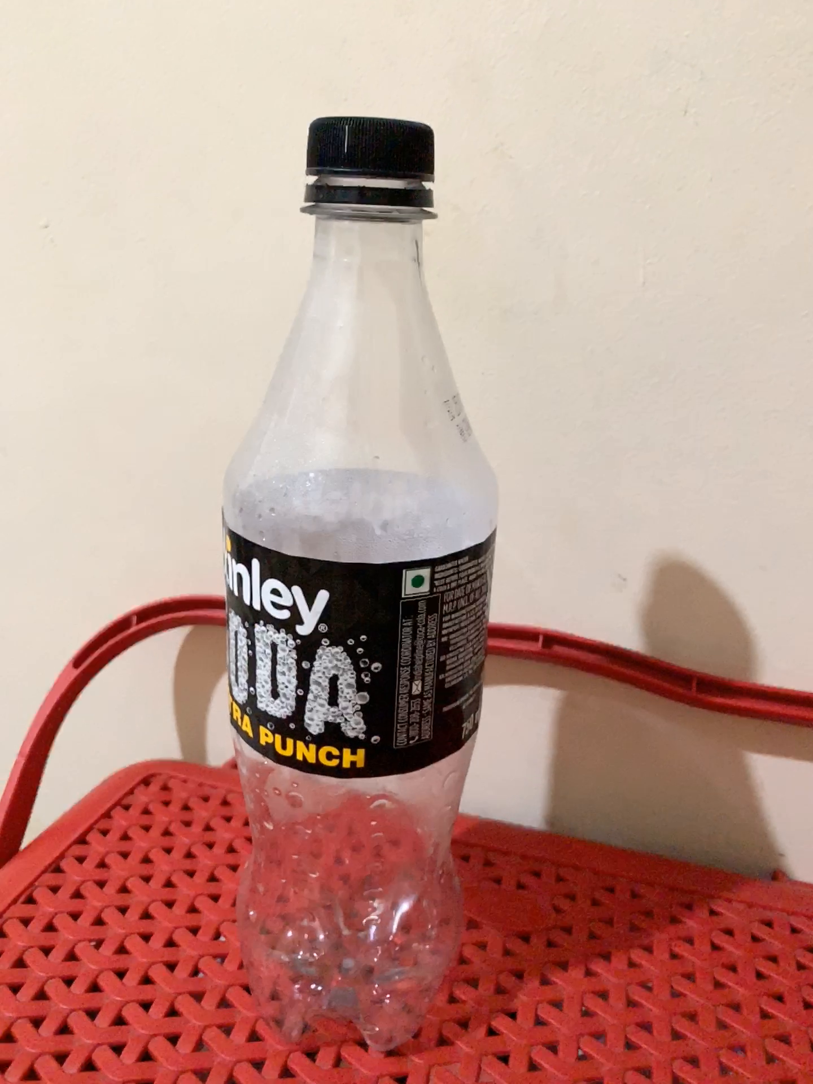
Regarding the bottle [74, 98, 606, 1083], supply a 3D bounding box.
[{"bbox_3d":[-0.017,0.020,0.215,0.080,0.228,0.070,23,31,39],"label":"bottle"}]
